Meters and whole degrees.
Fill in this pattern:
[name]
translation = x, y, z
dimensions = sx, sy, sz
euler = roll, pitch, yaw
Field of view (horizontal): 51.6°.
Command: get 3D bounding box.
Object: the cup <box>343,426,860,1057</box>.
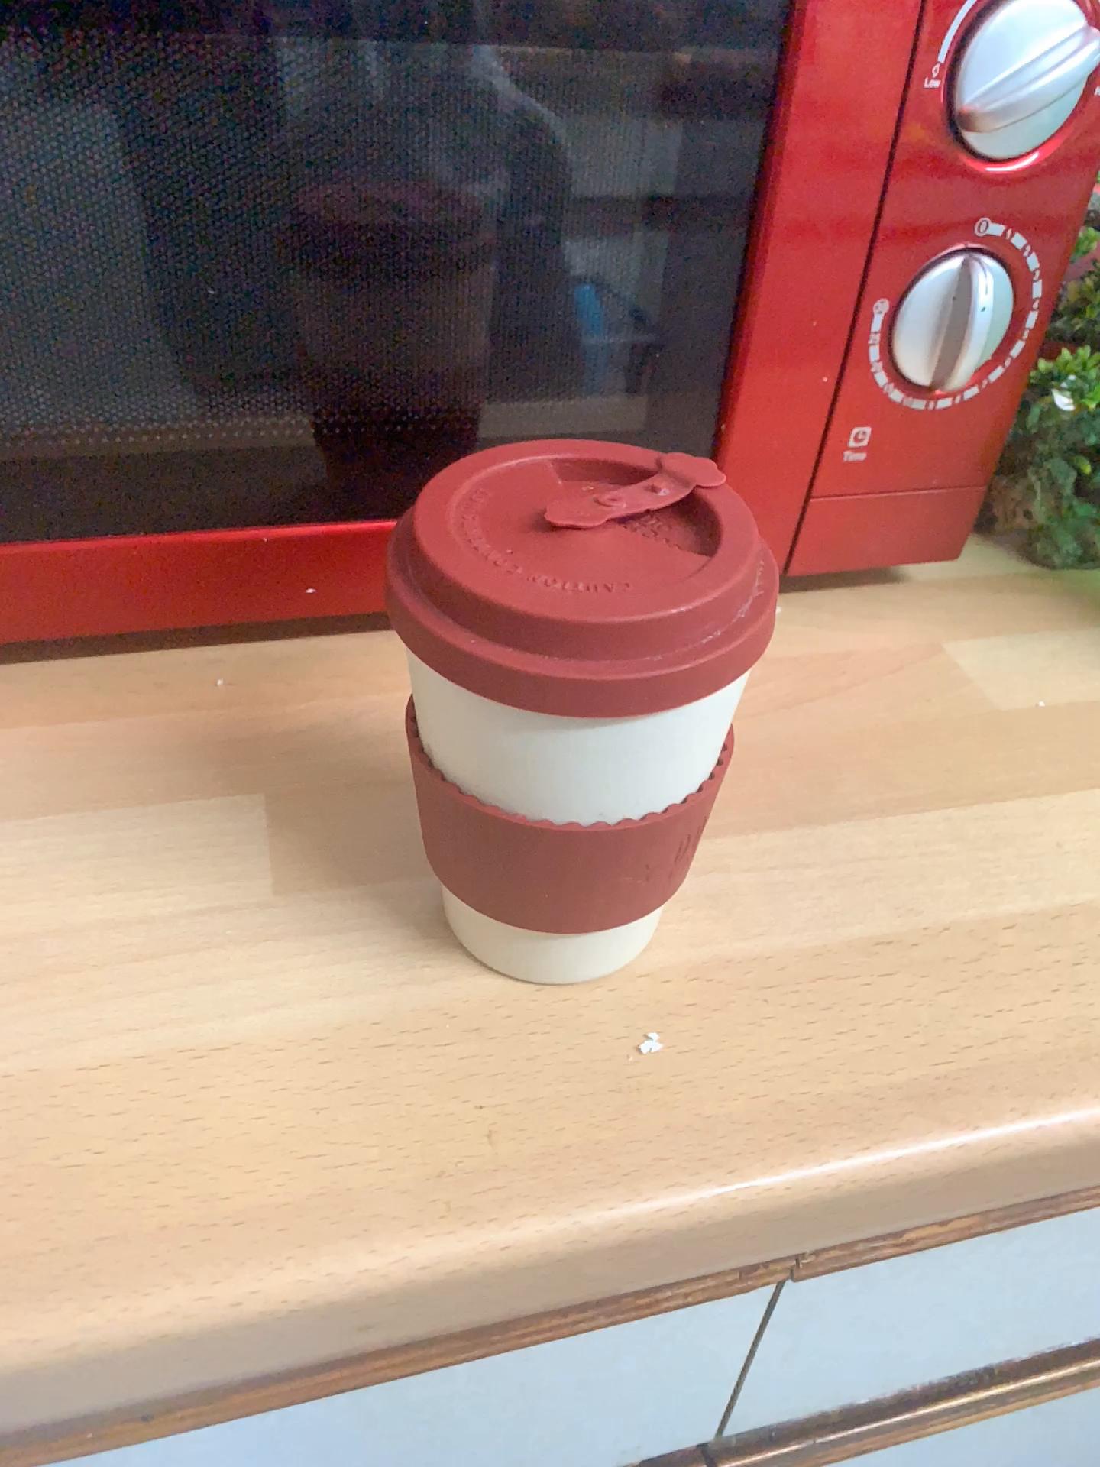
[cup]
translation = 0.002, 0.000, 0.279
dimensions = 0.087, 0.115, 0.087
euler = 4, 38, -3
